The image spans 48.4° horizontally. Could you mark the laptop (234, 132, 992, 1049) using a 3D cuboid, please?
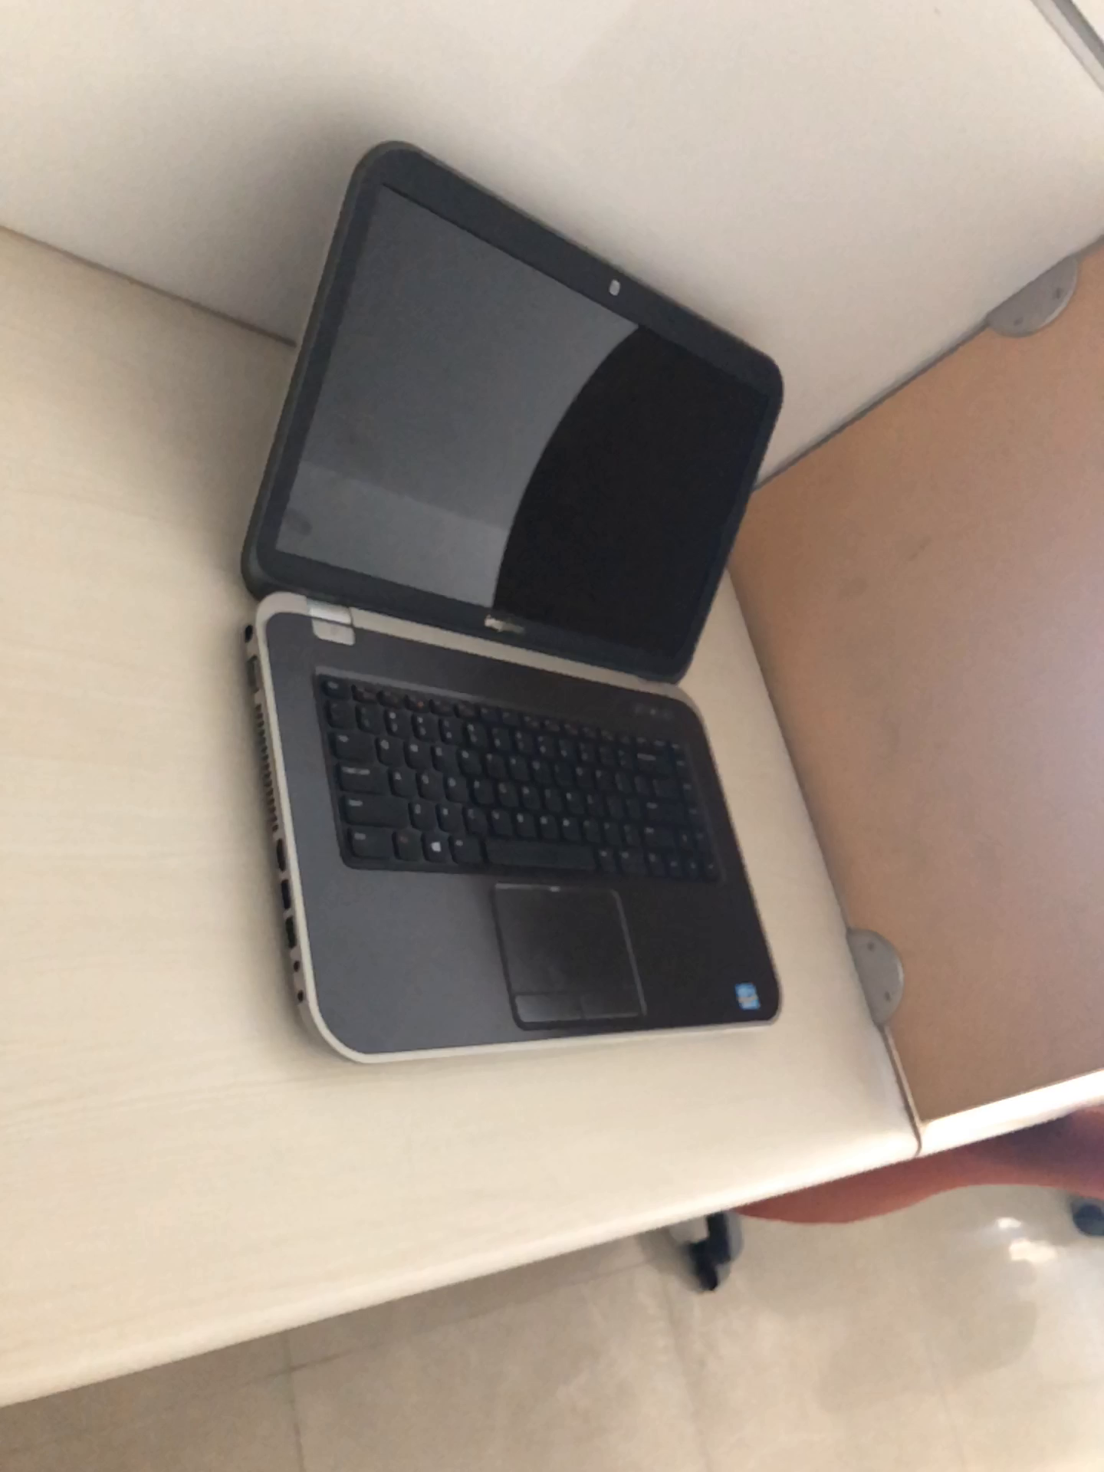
[{"bbox_3d":[0.034,-0.059,0.694,0.341,0.152,0.409,10,59,-45],"label":"laptop"}]
